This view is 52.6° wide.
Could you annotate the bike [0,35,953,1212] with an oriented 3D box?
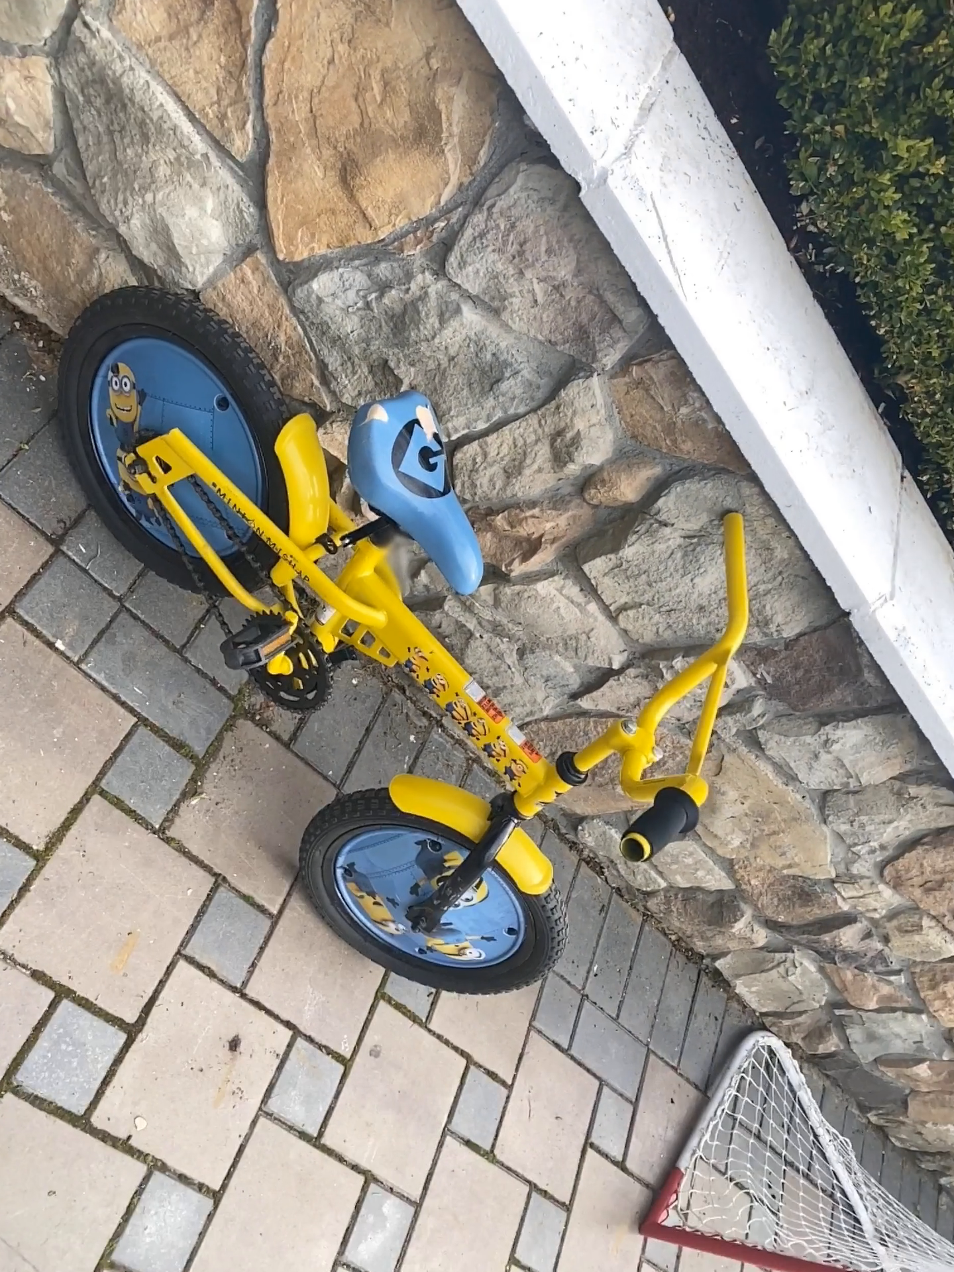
[{"bbox_3d":[-0.025,0.006,1.209,0.622,0.736,1.086,-44,108,-46],"label":"bike"}]
